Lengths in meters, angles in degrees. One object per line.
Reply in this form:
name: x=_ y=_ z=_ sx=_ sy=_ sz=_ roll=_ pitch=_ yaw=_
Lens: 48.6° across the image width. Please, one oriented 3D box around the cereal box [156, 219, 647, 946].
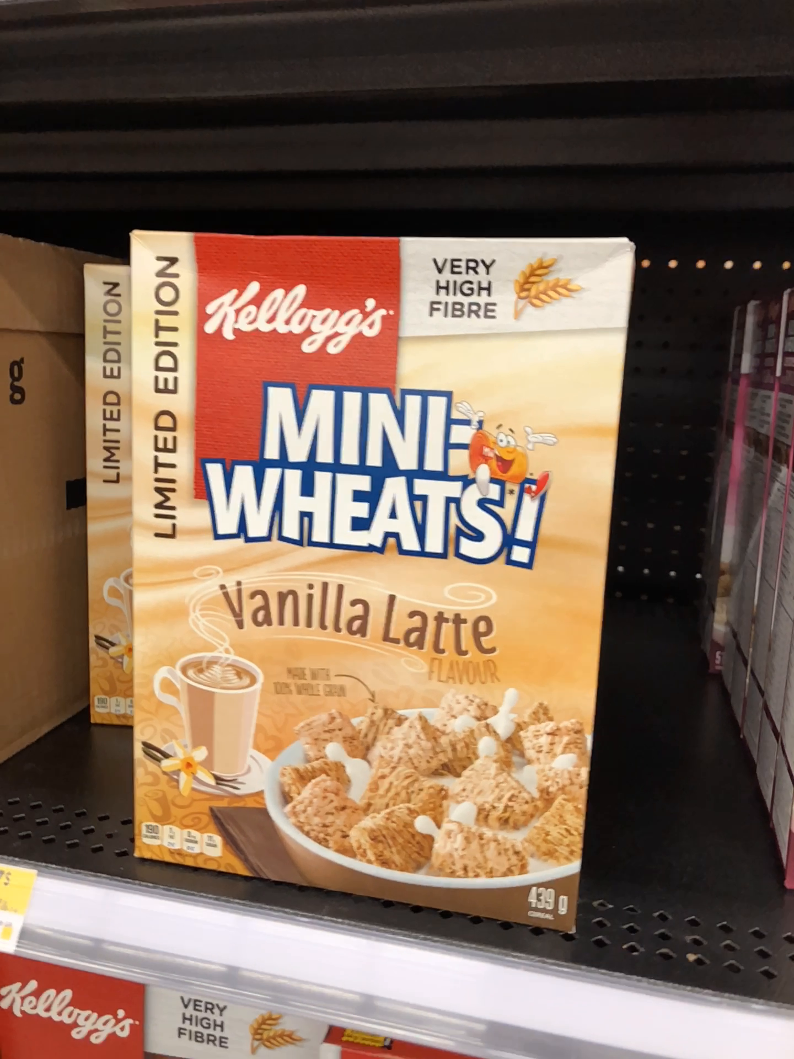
cereal box: x=-0.002 y=0.017 z=0.381 sx=0.190 sy=0.279 sz=0.060 roll=4 pitch=9 yaw=13
